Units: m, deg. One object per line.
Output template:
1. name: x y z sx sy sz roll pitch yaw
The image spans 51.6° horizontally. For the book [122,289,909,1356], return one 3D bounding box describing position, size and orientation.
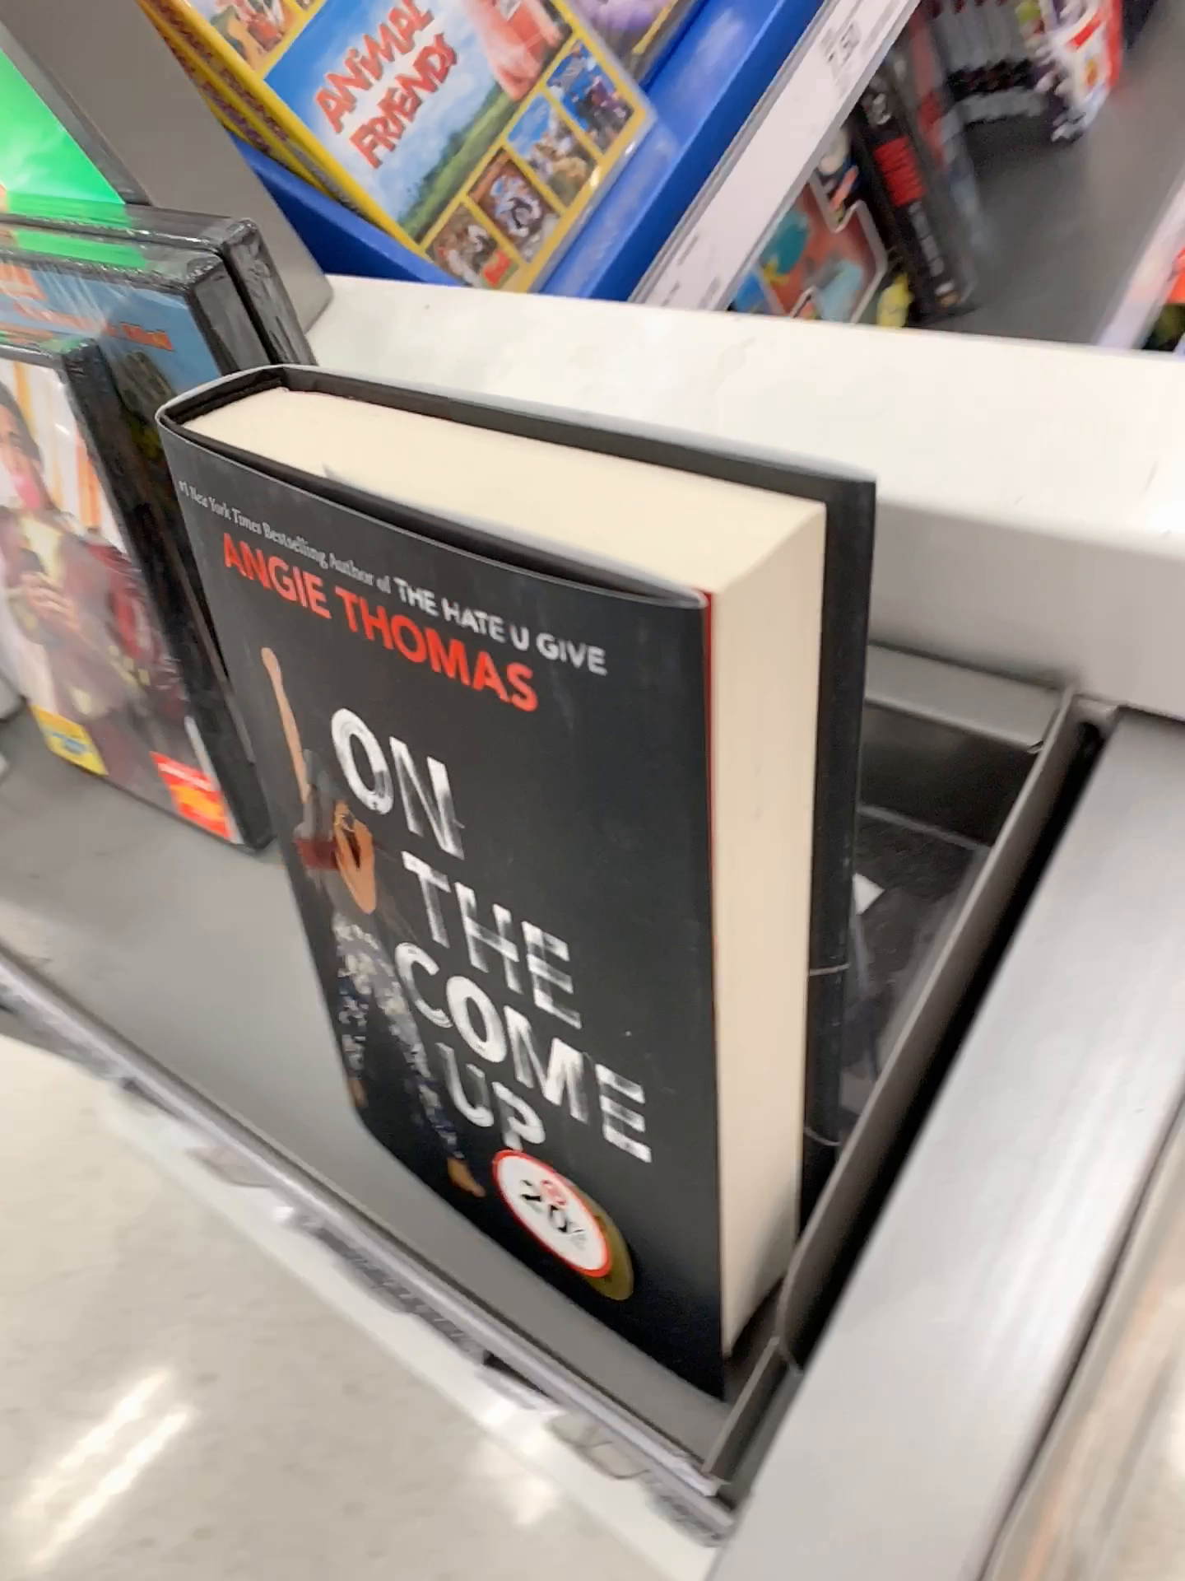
1. book: -0.014 0.011 0.293 0.149 0.222 0.056 23 45 34
